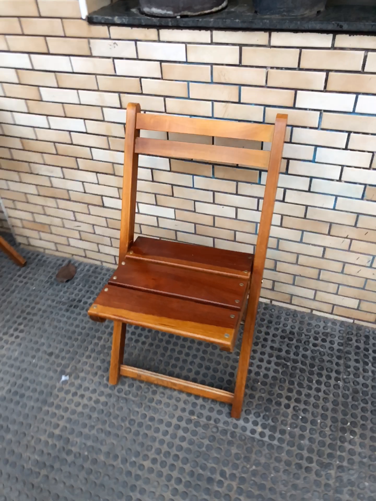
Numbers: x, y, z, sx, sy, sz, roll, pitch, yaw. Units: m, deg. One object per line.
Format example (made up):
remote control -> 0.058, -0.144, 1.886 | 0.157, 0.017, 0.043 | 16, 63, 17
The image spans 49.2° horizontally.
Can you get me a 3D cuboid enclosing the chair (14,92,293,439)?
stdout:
chair -> -0.023, 0.049, 1.147 | 0.470, 0.764, 0.493 | 10, 42, 13
